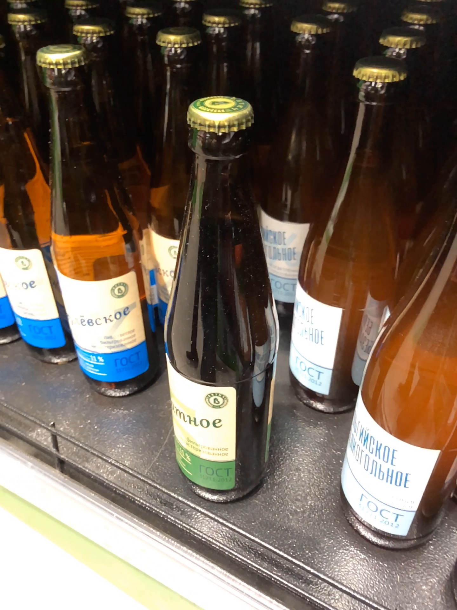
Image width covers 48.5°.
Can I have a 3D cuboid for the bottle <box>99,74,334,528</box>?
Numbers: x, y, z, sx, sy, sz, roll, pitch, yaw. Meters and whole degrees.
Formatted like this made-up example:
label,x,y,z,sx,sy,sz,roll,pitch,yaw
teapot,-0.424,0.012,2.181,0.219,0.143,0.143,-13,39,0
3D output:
label,x,y,z,sx,sy,sz,roll,pitch,yaw
bottle,-0.009,0.015,0.289,0.070,0.249,0.080,-17,42,-20
